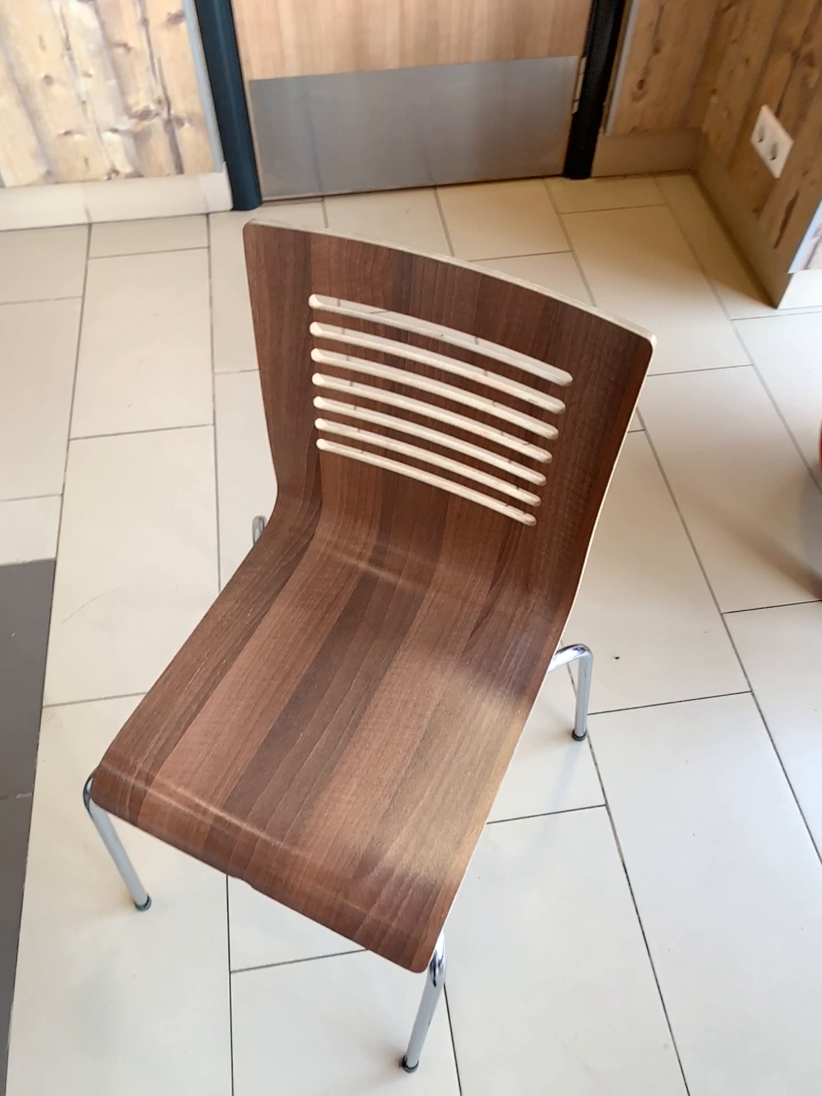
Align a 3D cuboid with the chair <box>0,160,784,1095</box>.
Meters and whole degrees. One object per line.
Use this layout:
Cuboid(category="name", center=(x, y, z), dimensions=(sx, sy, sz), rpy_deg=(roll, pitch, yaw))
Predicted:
Cuboid(category="chair", center=(-0.066, 0.154, 0.952), dimensions=(0.545, 0.795, 0.593), rpy_deg=(23, 59, 14))
